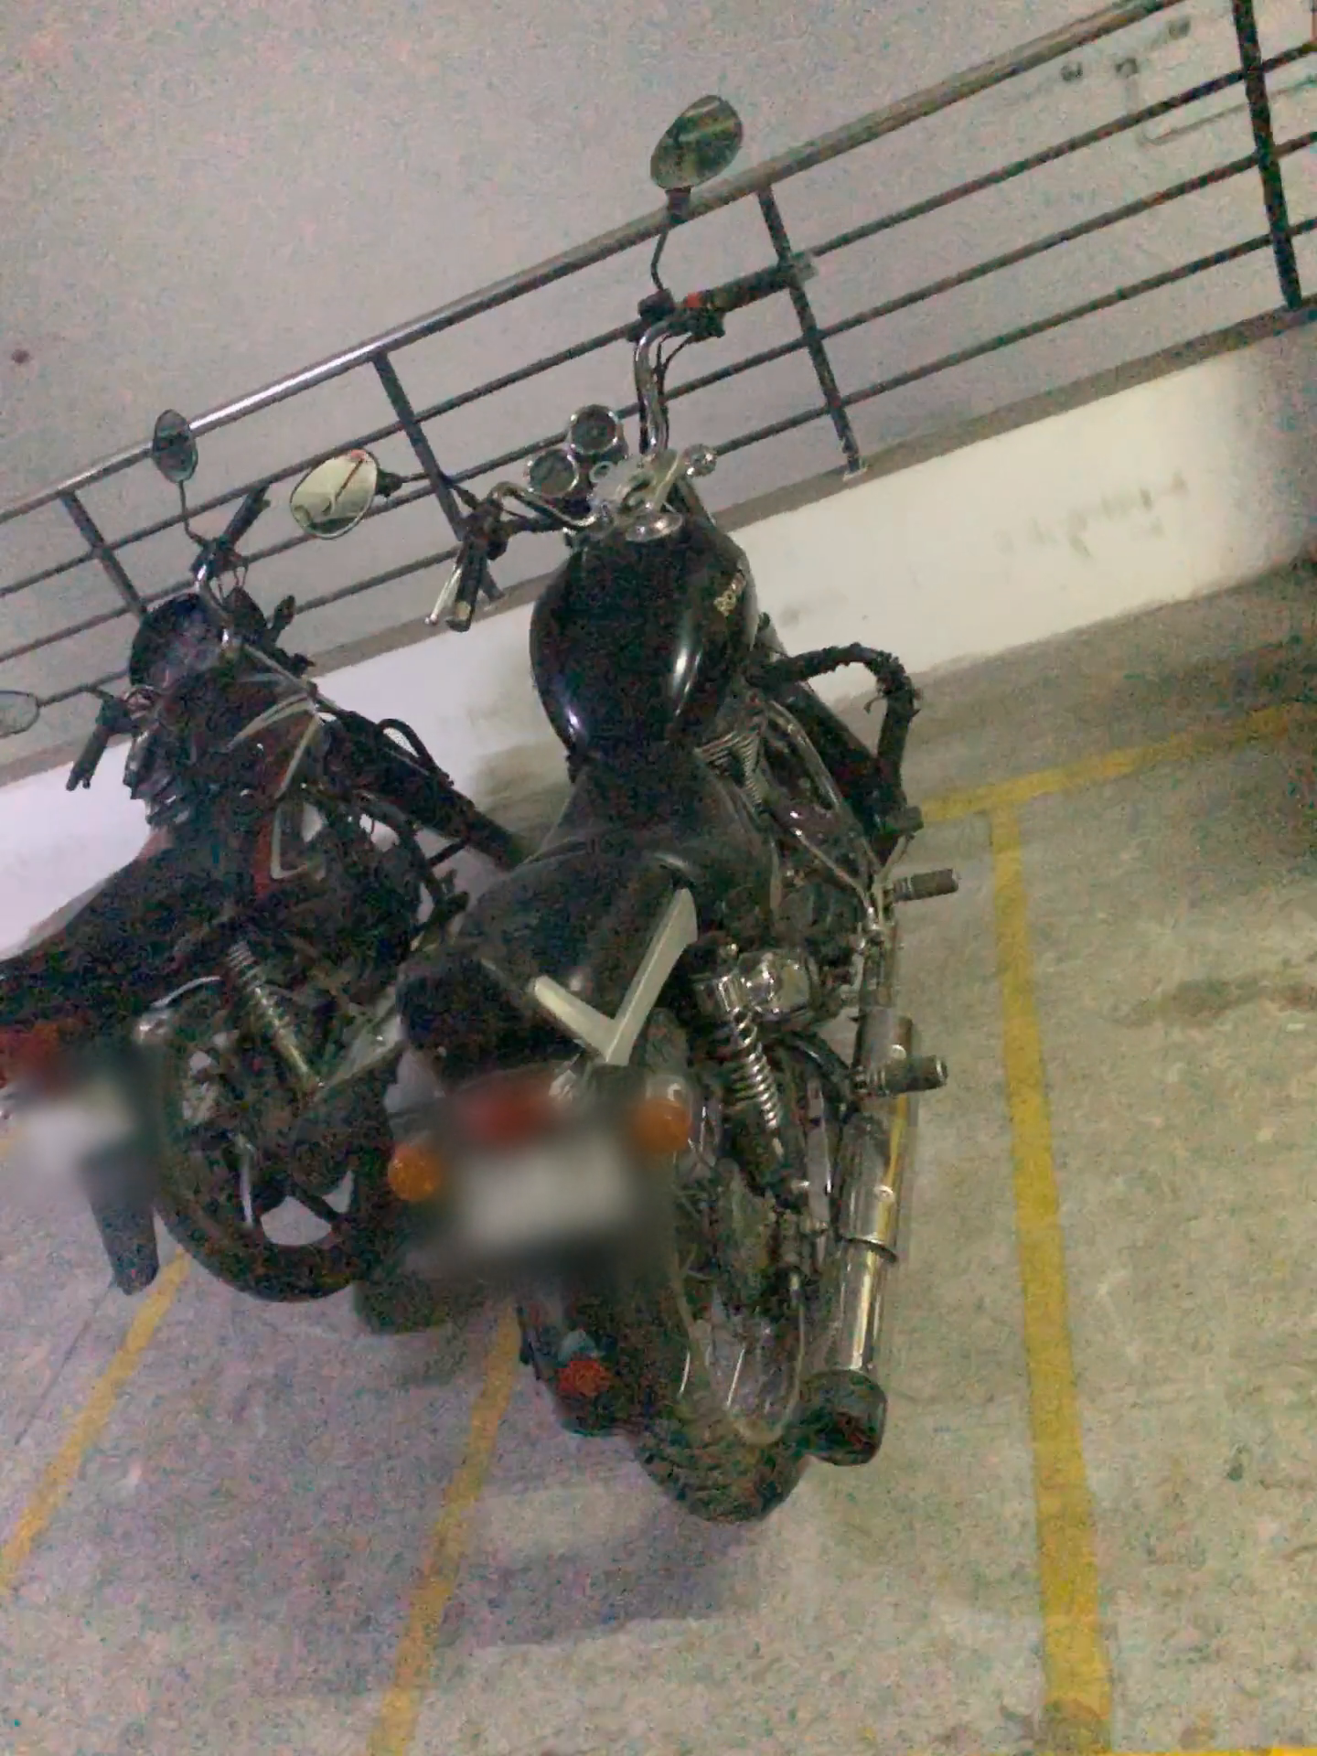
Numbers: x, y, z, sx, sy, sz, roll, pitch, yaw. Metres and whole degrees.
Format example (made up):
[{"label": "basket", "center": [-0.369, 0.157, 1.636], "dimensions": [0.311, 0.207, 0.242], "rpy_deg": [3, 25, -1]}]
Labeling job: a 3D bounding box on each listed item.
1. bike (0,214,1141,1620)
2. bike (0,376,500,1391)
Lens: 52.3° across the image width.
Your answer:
[{"label": "bike", "center": [-0.073, -0.115, 2.102], "dimensions": [0.852, 1.231, 1.805], "rpy_deg": [-18, 30, 14]}, {"label": "bike", "center": [-1.017, -0.053, 2.826], "dimensions": [0.721, 1.276, 1.570], "rpy_deg": [-16, 33, 17]}]
